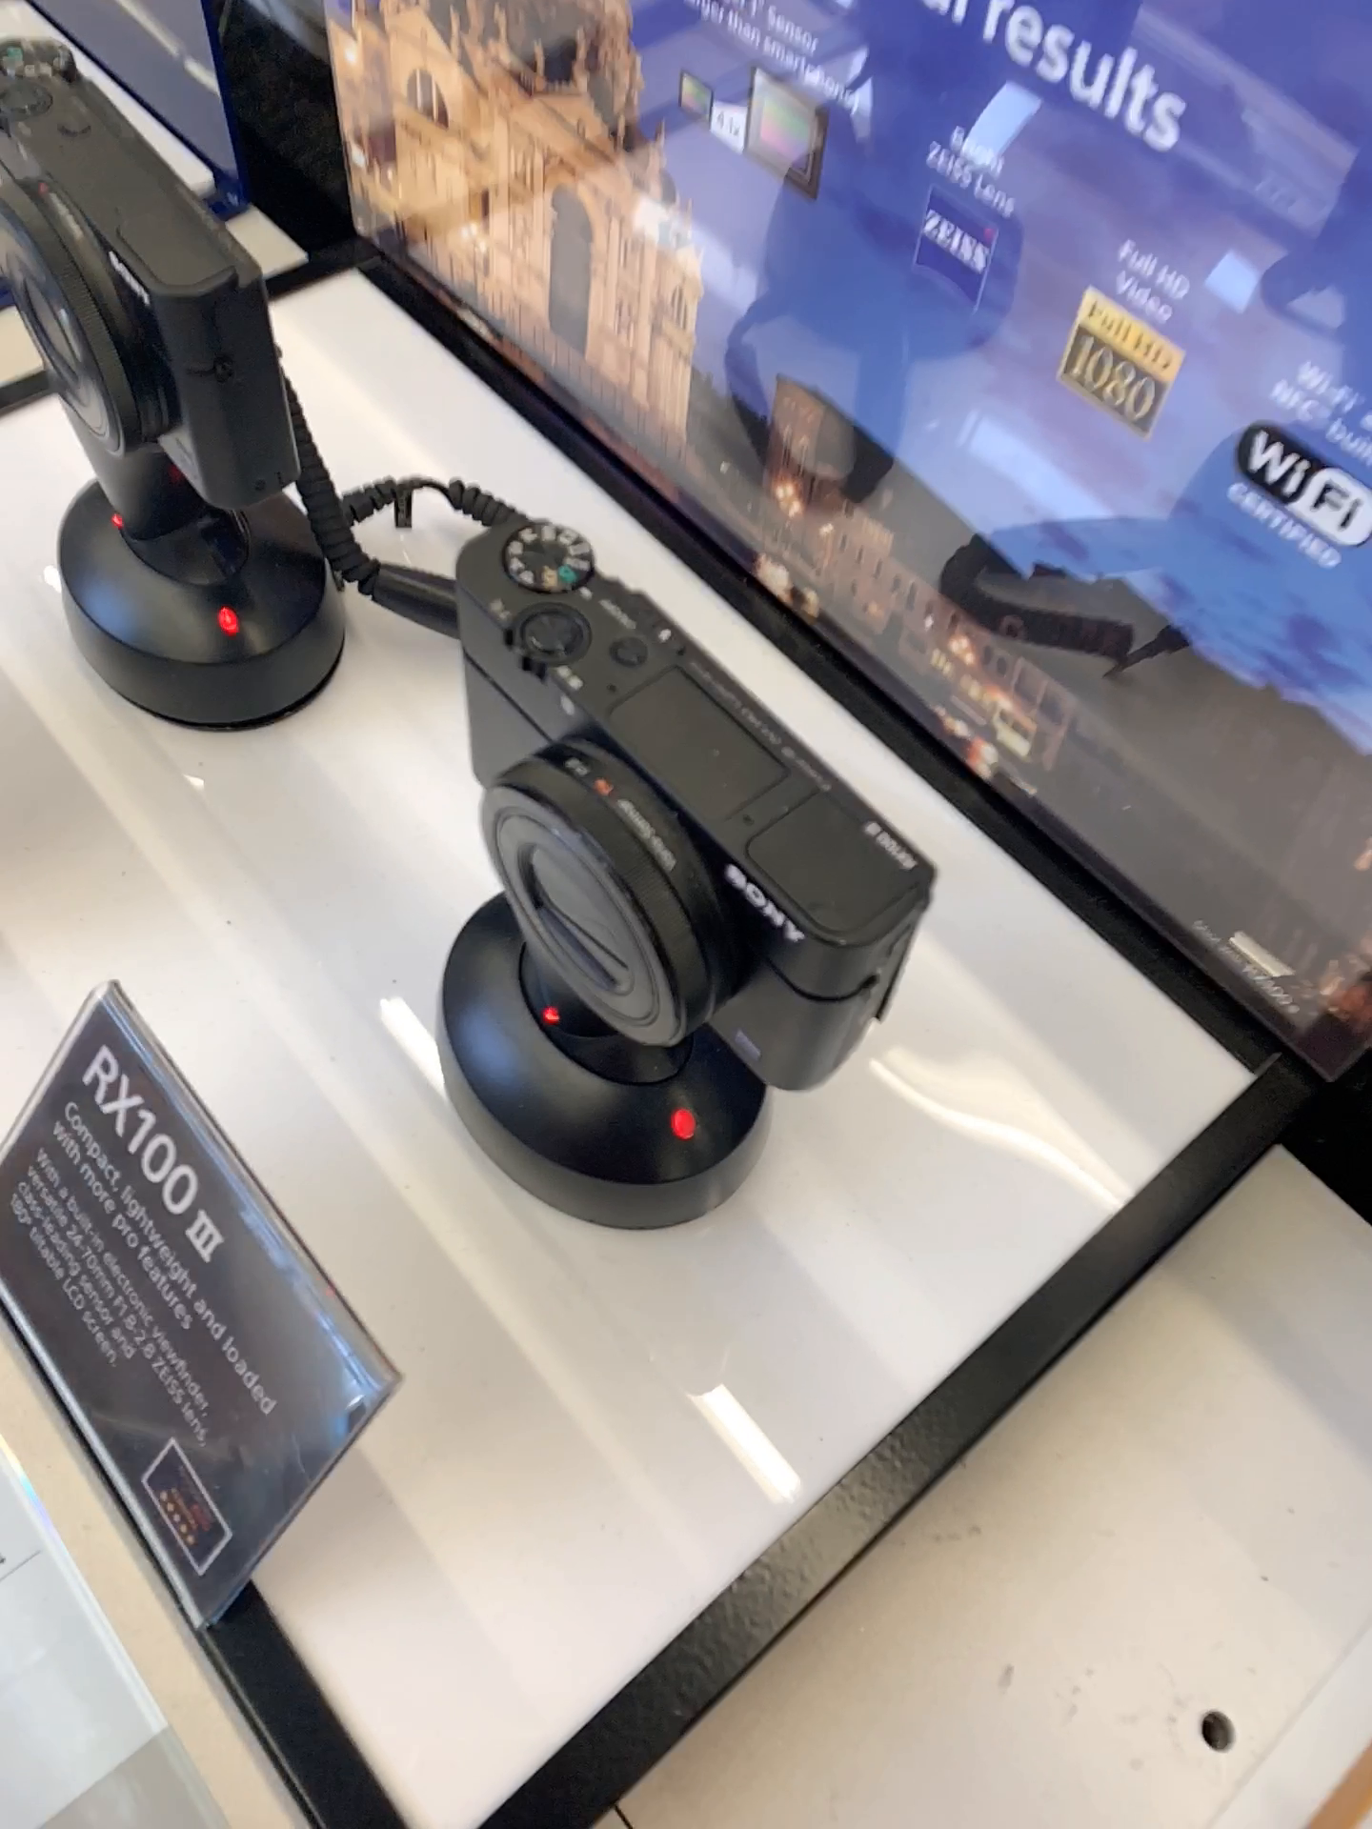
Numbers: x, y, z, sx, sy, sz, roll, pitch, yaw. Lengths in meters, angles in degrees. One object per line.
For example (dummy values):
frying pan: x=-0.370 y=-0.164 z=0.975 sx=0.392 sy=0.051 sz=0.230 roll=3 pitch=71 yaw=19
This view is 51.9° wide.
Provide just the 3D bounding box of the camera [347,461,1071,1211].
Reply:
camera: x=-0.001 y=-0.015 z=0.244 sx=0.050 sy=0.060 sz=0.110 roll=-38 pitch=68 yaw=-23
